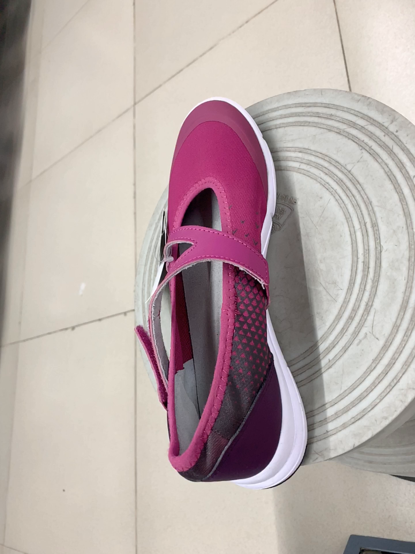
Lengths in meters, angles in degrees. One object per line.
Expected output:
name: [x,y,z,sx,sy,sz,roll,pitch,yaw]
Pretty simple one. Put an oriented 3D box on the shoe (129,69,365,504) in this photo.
shoe: [0.013,0.004,0.295,0.100,0.070,0.260,-24,64,36]
